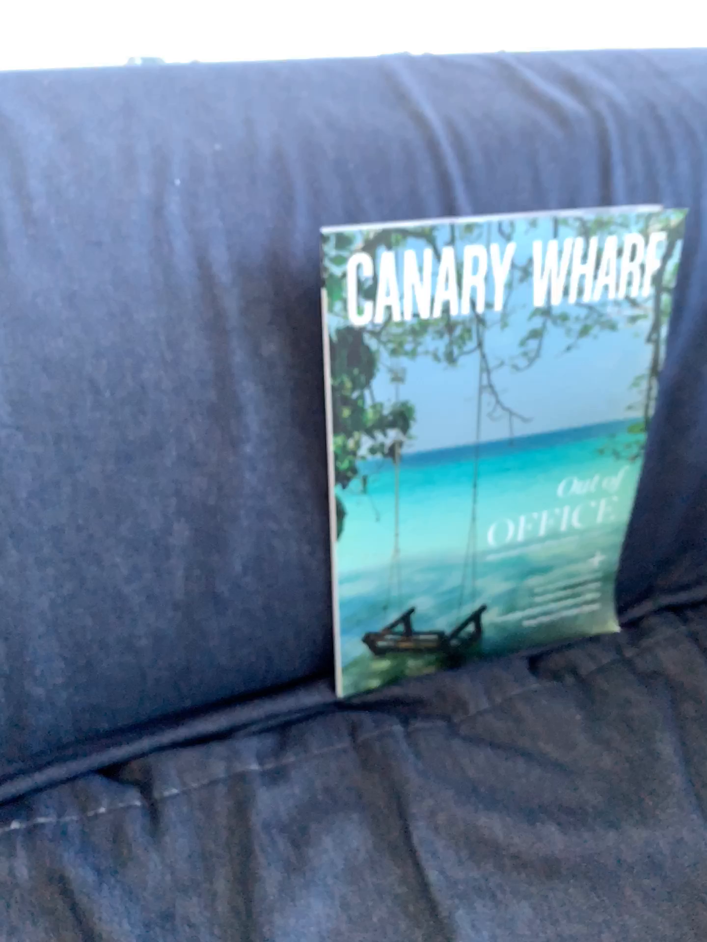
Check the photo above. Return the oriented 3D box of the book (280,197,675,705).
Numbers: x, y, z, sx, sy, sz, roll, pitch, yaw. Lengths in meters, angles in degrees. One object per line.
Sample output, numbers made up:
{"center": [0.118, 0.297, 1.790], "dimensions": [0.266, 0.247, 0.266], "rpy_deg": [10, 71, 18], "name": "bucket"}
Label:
{"center": [0.073, -0.006, 0.431], "dimensions": [0.206, 0.273, 0.030], "rpy_deg": [-9, 24, -15], "name": "book"}
